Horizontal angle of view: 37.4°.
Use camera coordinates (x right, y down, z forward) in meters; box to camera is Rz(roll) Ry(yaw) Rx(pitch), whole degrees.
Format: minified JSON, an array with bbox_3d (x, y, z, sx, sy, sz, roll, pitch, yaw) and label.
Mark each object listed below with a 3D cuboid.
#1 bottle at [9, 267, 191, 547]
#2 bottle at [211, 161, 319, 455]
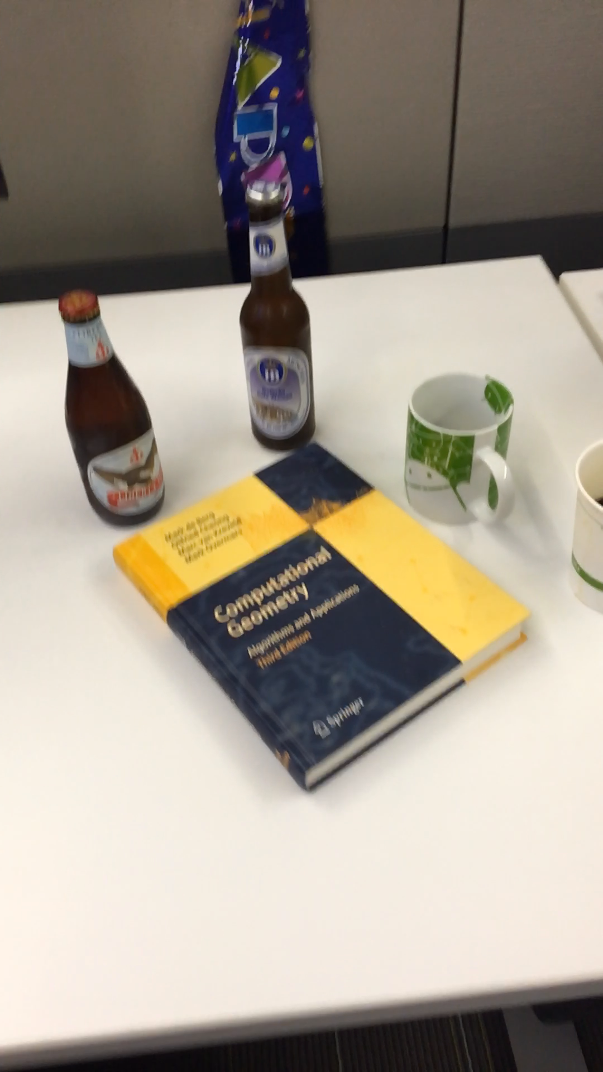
[{"bbox_3d":[-0.142,-0.090,0.654,0.070,0.180,0.070,-2,45,2],"label":"bottle"},{"bbox_3d":[-0.023,-0.173,0.709,0.060,0.220,0.070,4,46,7],"label":"bottle"}]
